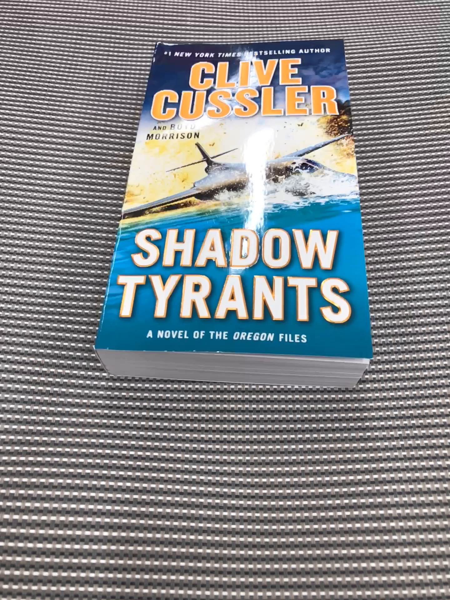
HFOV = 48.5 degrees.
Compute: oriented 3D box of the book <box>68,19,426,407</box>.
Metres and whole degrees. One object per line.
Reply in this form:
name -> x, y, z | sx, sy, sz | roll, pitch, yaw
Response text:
book -> 0.014, -0.050, 0.238 | 0.120, 0.060, 0.181 | 3, 60, 3
